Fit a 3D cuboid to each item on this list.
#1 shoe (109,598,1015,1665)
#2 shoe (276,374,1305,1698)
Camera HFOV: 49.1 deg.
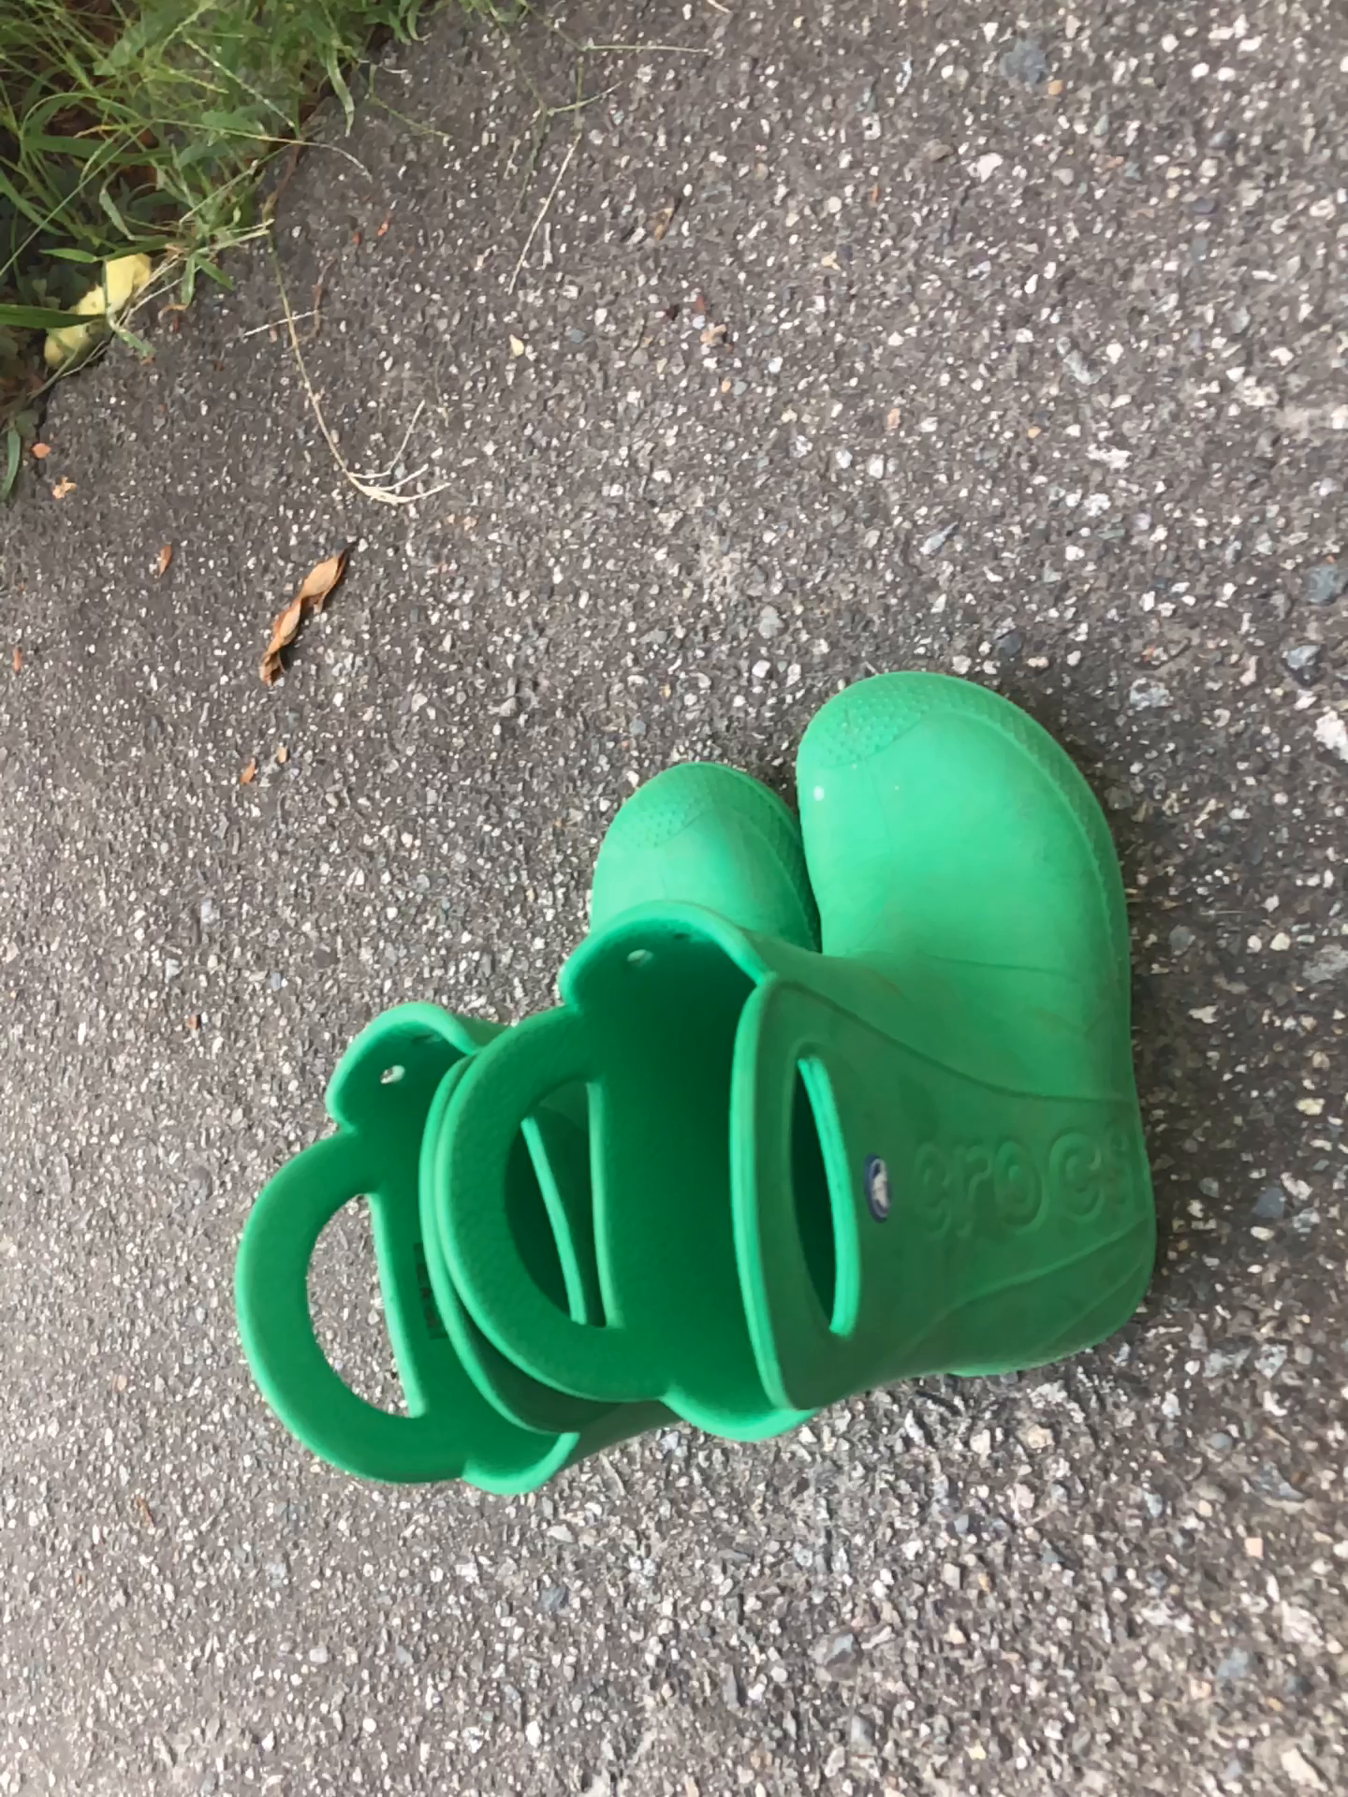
[{"bbox_3d":[-0.023,0.062,0.469,0.110,0.229,0.250,-23,77,32],"label":"shoe"},{"bbox_3d":[0.051,0.032,0.420,0.110,0.259,0.260,-23,77,32],"label":"shoe"}]
